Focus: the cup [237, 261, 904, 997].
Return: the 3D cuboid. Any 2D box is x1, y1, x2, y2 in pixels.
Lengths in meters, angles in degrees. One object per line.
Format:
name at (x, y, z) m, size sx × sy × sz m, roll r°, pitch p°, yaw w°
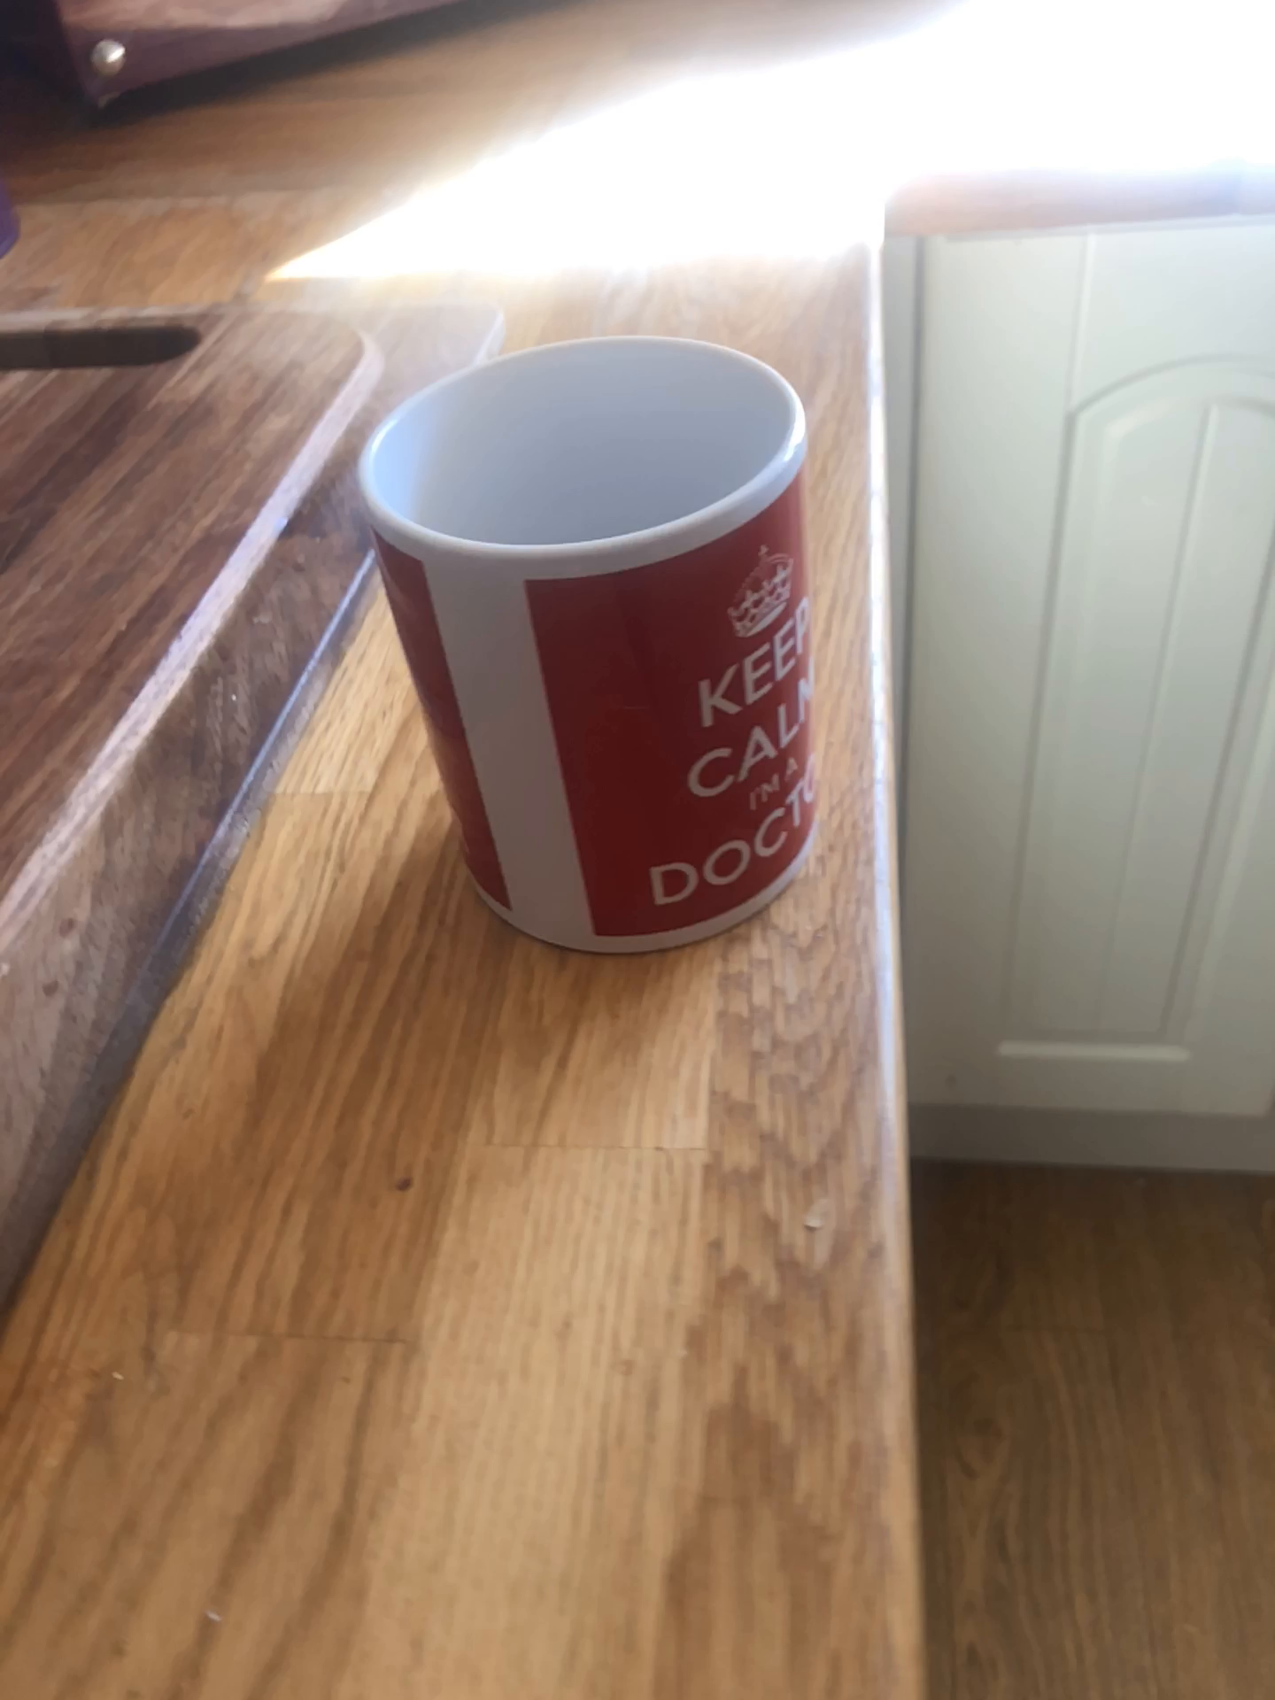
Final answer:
cup at (-0.001, -0.052, 0.301) m, size 0.089 × 0.094 × 0.124 m, roll 6°, pitch 44°, yaw 19°
